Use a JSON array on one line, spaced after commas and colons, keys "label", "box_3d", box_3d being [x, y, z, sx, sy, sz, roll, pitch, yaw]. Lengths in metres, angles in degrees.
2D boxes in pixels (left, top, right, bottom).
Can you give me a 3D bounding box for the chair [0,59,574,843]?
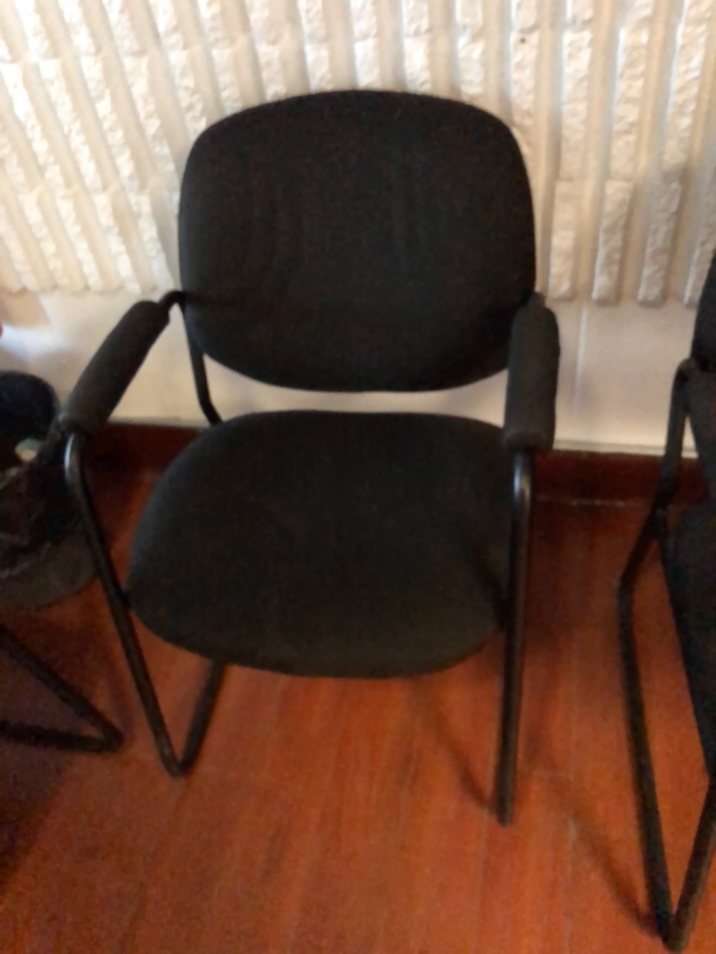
[{"label": "chair", "box_3d": [-0.012, -0.039, 1.184, 0.590, 0.795, 0.775, 3, 47, 12]}]
